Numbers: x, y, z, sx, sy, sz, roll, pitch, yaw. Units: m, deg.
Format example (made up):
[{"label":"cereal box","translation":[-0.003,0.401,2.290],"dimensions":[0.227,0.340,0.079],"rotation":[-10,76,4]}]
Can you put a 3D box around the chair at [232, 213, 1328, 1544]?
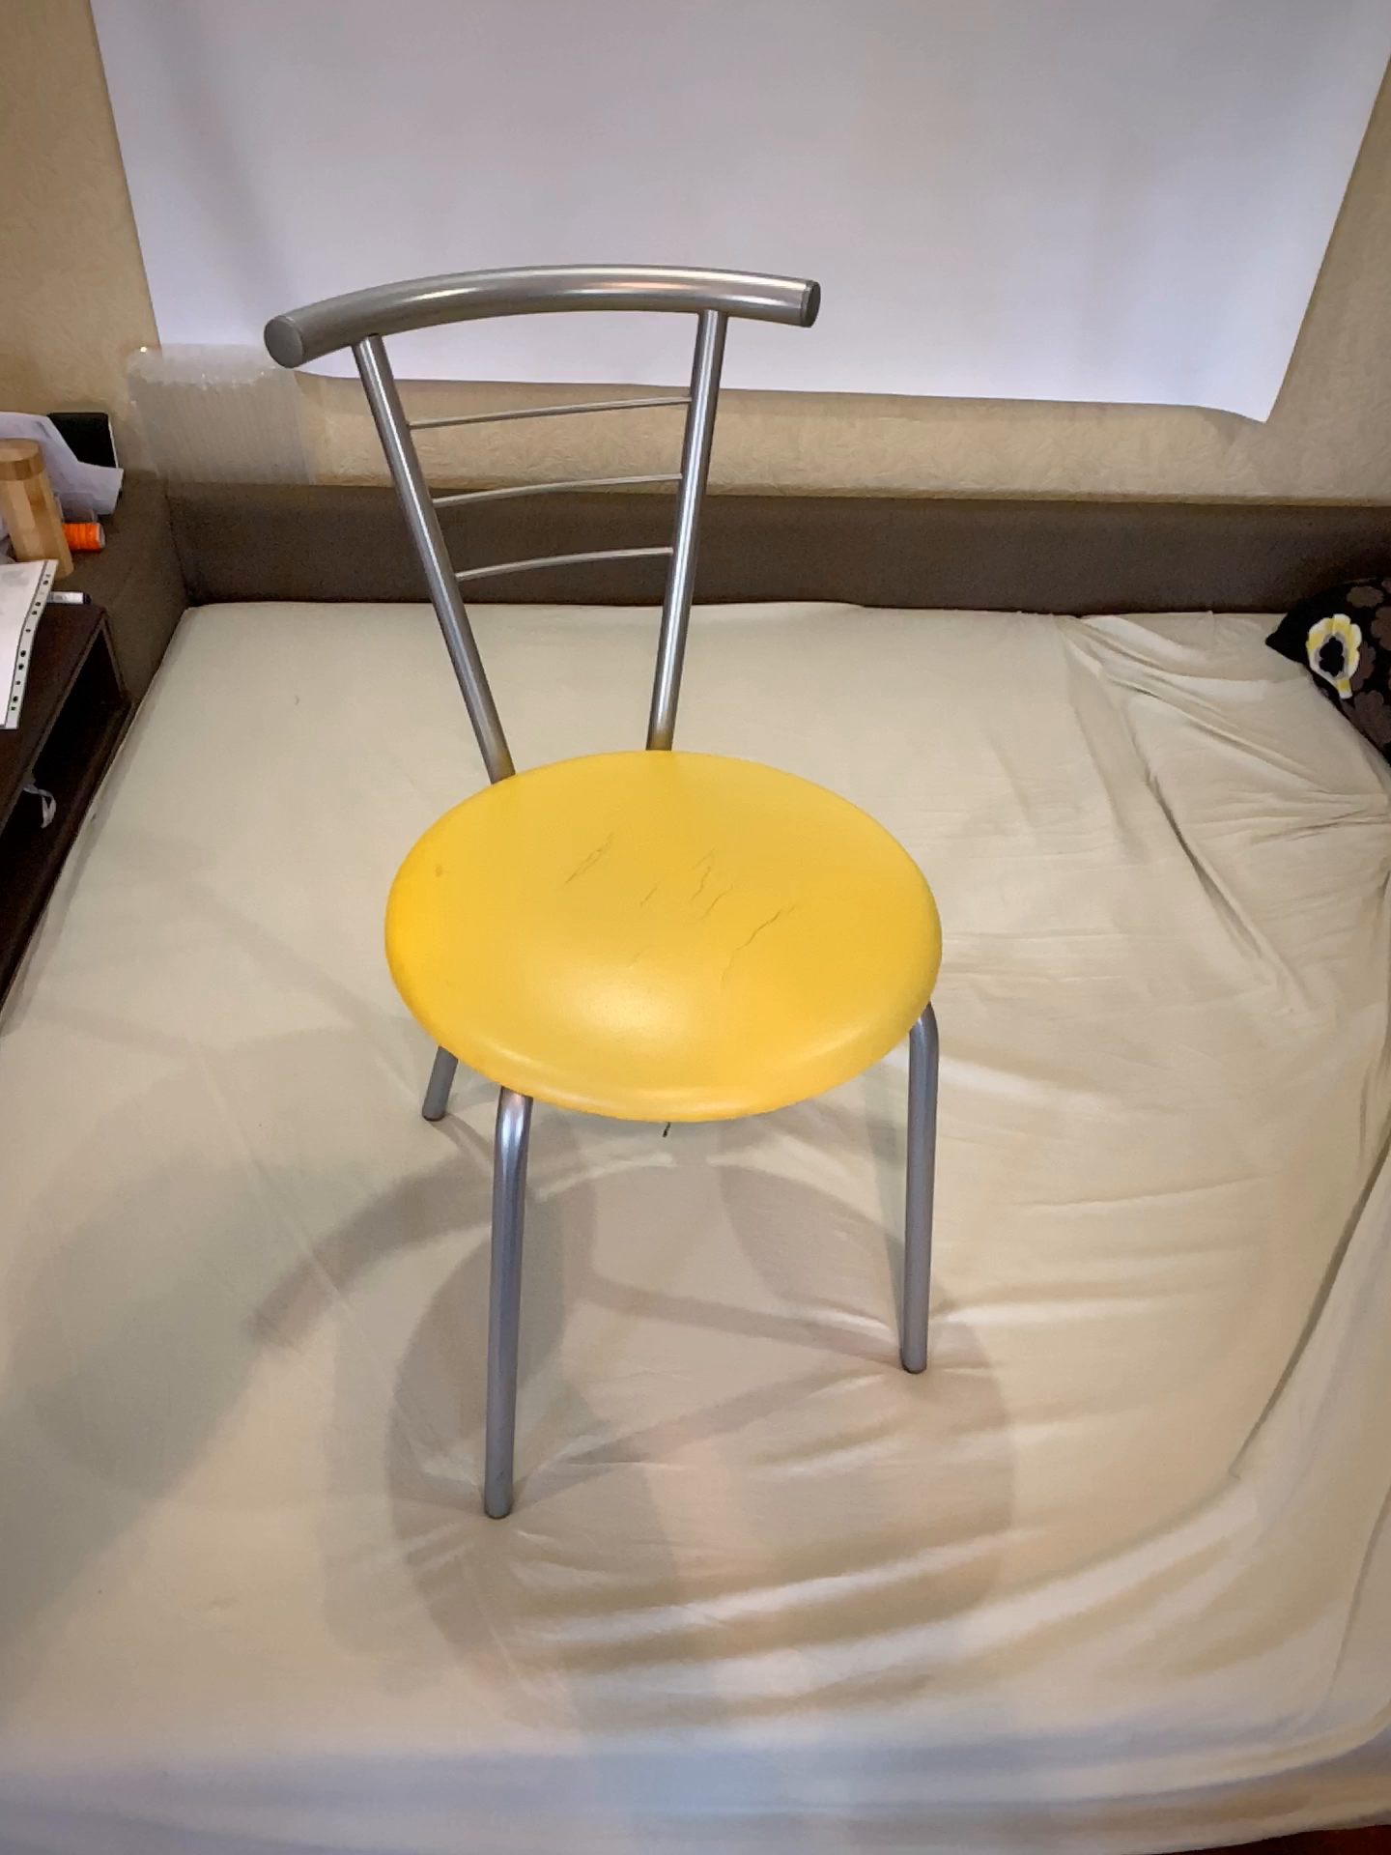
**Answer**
[{"label":"chair","translation":[-0.009,-0.032,1.054],"dimensions":[0.461,0.763,0.504],"rotation":[-12,44,-17]}]
